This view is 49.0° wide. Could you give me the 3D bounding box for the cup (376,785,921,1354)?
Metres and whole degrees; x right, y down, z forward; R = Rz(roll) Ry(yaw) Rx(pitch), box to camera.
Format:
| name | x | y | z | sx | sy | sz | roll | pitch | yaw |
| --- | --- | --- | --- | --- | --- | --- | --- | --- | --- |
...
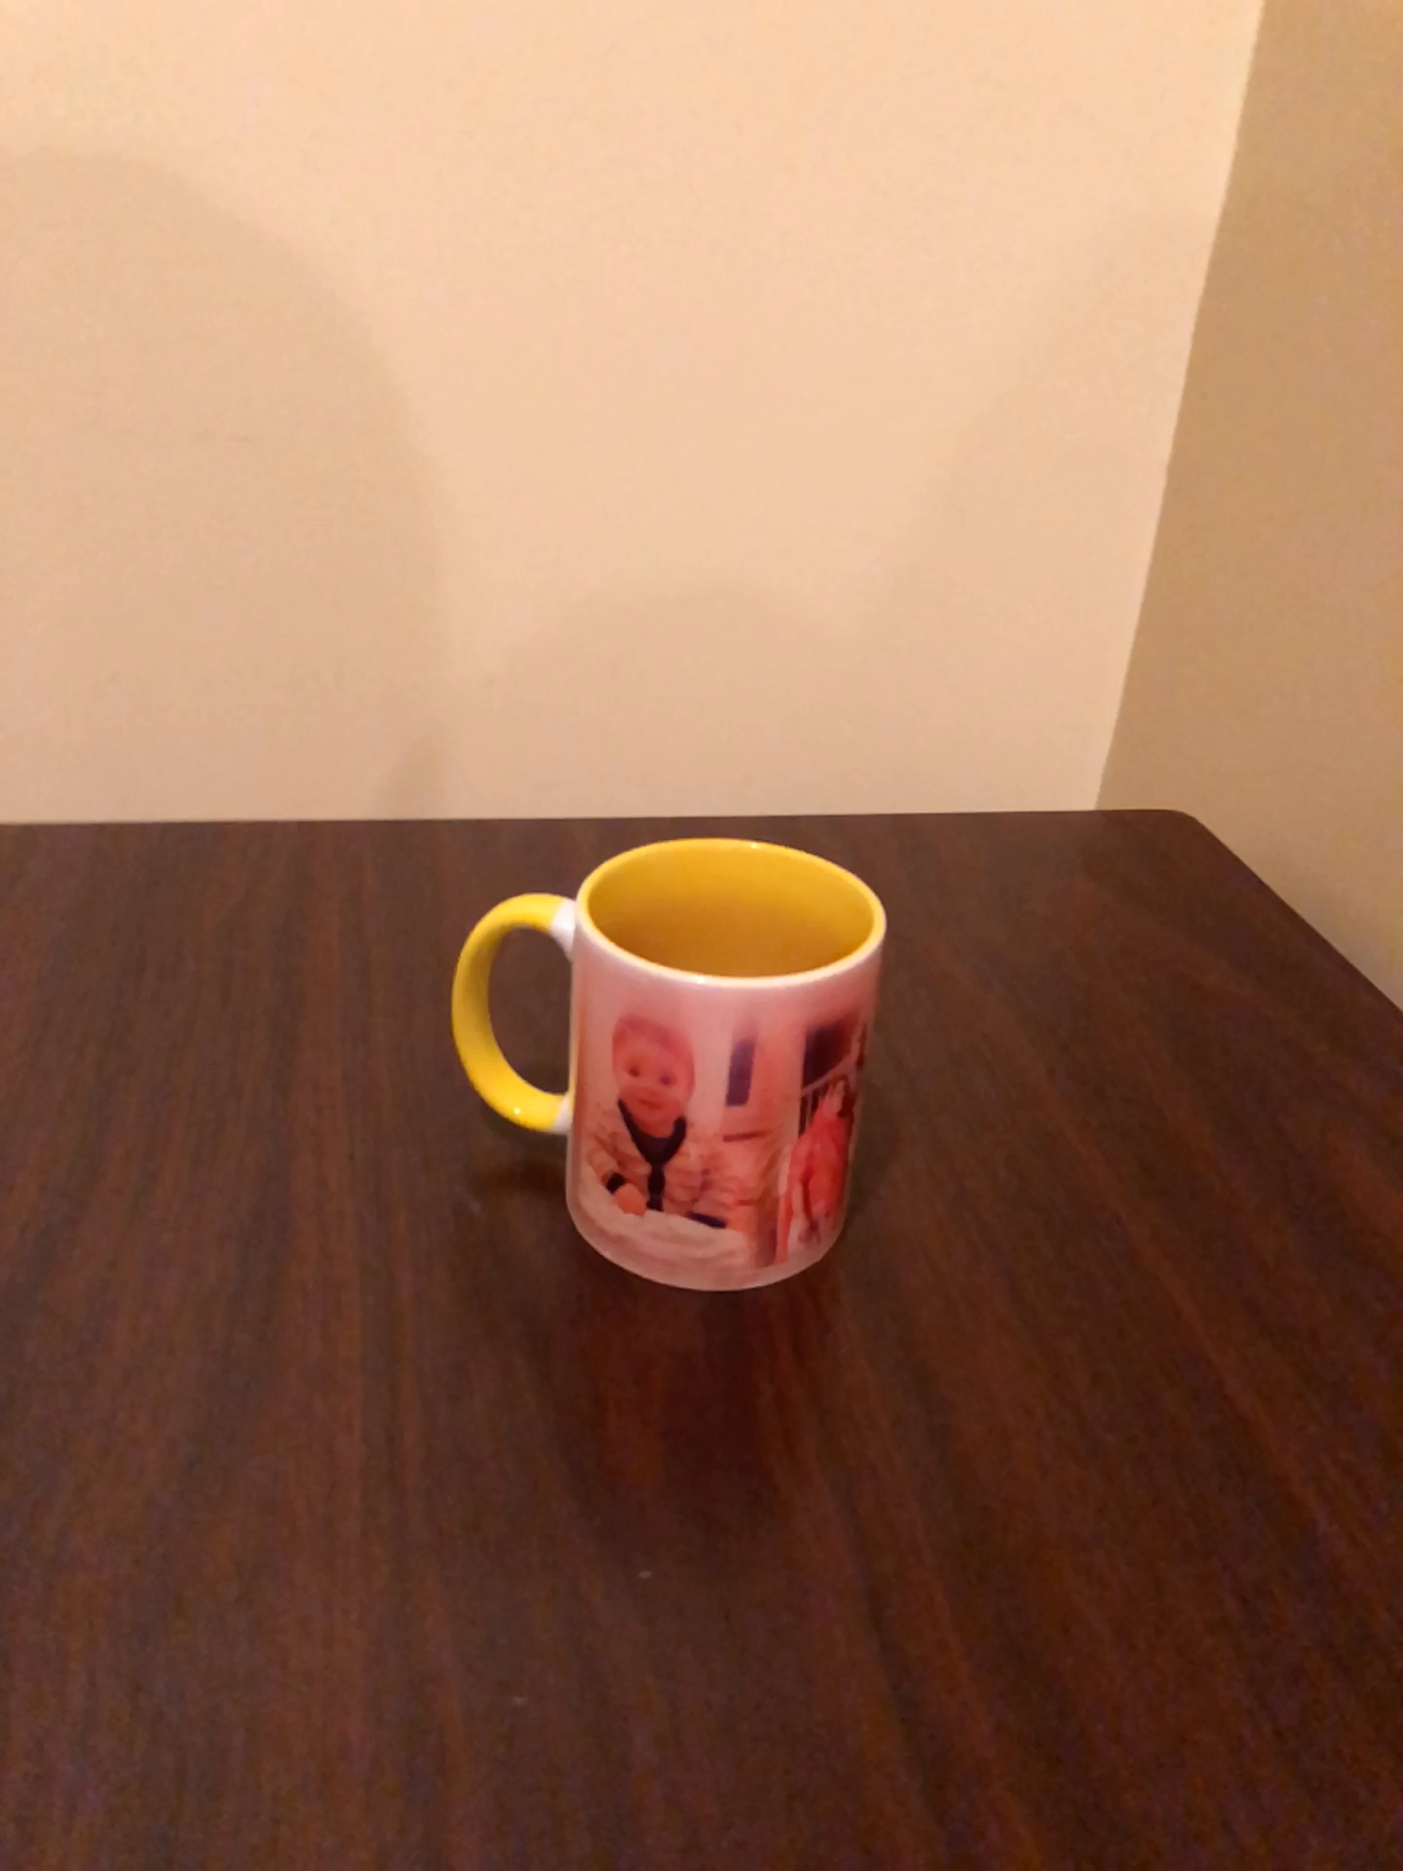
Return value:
| name | x | y | z | sx | sy | sz | roll | pitch | yaw |
| --- | --- | --- | --- | --- | --- | --- | --- | --- | --- |
| cup | -0.011 | 0.031 | 0.406 | 0.120 | 0.100 | 0.090 | 8 | 29 | 7 |
